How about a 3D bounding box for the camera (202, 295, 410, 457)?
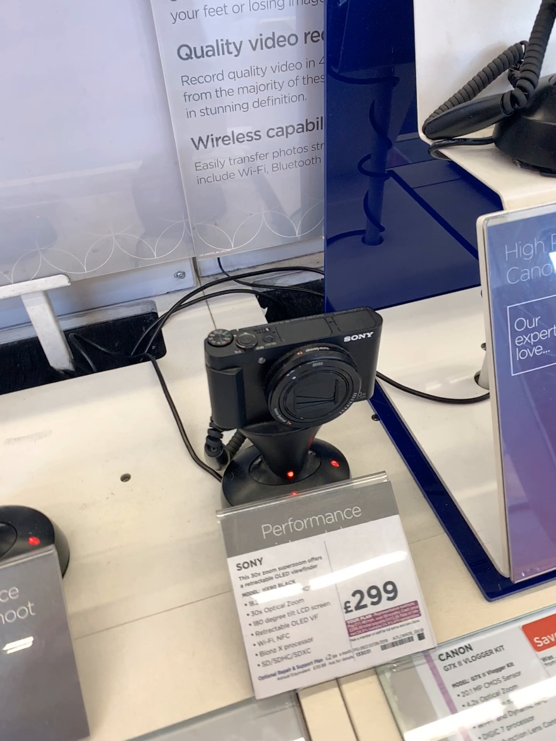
[{"bbox_3d":[0.014,0.003,0.314,0.100,0.059,0.040,-11,43,-11],"label":"camera"}]
